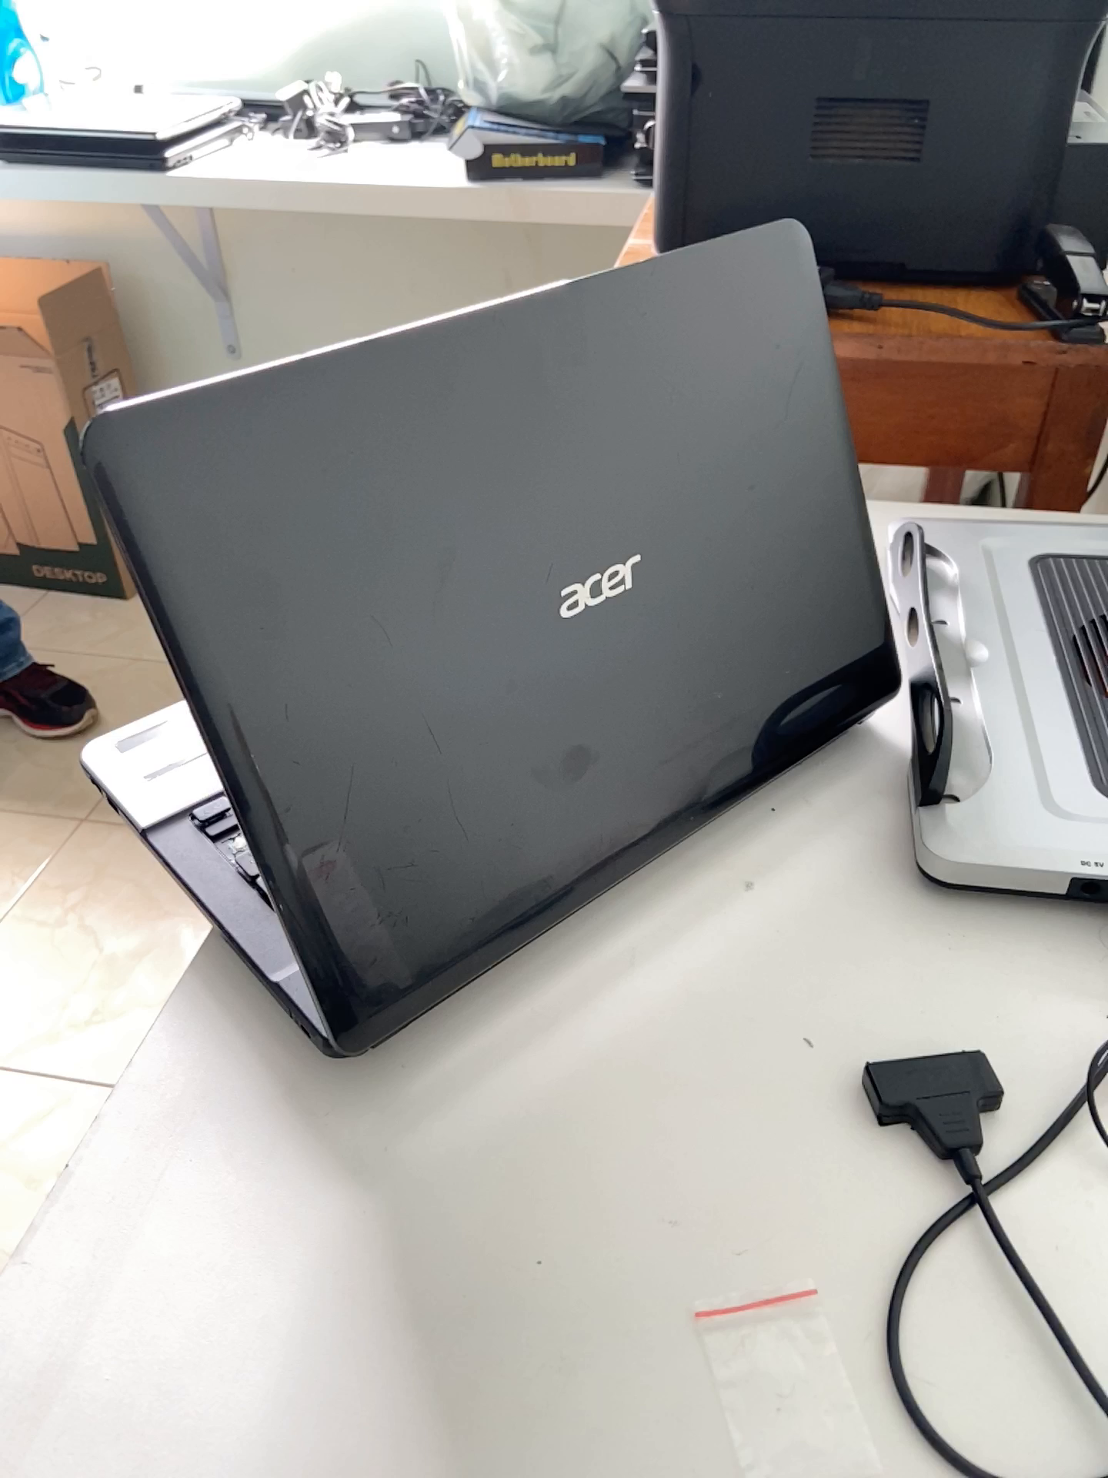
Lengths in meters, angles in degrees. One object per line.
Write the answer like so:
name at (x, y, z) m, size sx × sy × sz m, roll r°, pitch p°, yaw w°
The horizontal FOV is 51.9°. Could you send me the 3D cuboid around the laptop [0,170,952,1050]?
laptop at (-0.040, -0.093, 0.509) m, size 0.328 × 0.211 × 0.239 m, roll -29°, pitch 45°, yaw -30°
